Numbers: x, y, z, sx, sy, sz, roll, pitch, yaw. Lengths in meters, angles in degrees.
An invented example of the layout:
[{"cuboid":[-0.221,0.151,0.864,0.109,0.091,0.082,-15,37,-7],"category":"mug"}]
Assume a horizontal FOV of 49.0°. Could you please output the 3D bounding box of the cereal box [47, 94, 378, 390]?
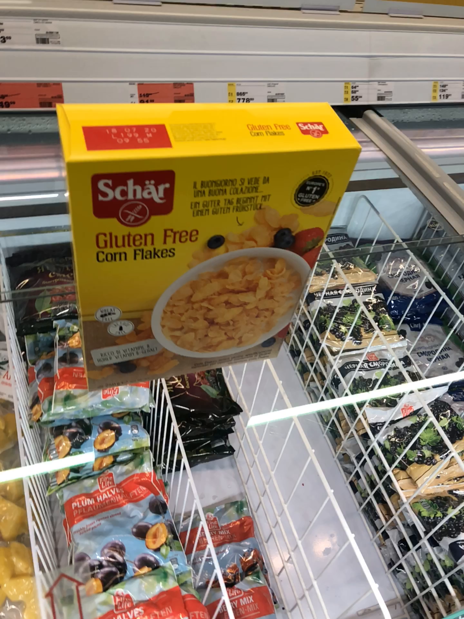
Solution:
[{"cuboid":[-0.027,-0.043,0.408,0.200,0.238,0.060,-8,52,-19],"category":"cereal box"}]
